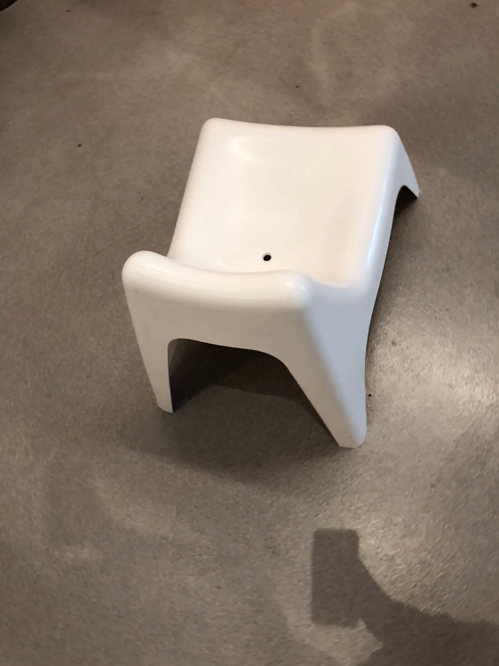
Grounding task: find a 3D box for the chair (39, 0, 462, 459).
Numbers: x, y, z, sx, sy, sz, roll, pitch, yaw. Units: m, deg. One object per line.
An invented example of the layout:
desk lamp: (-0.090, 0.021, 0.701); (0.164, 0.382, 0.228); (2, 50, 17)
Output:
chair: (0.057, -0.186, 1.012); (0.530, 0.400, 0.690); (6, 71, 14)
